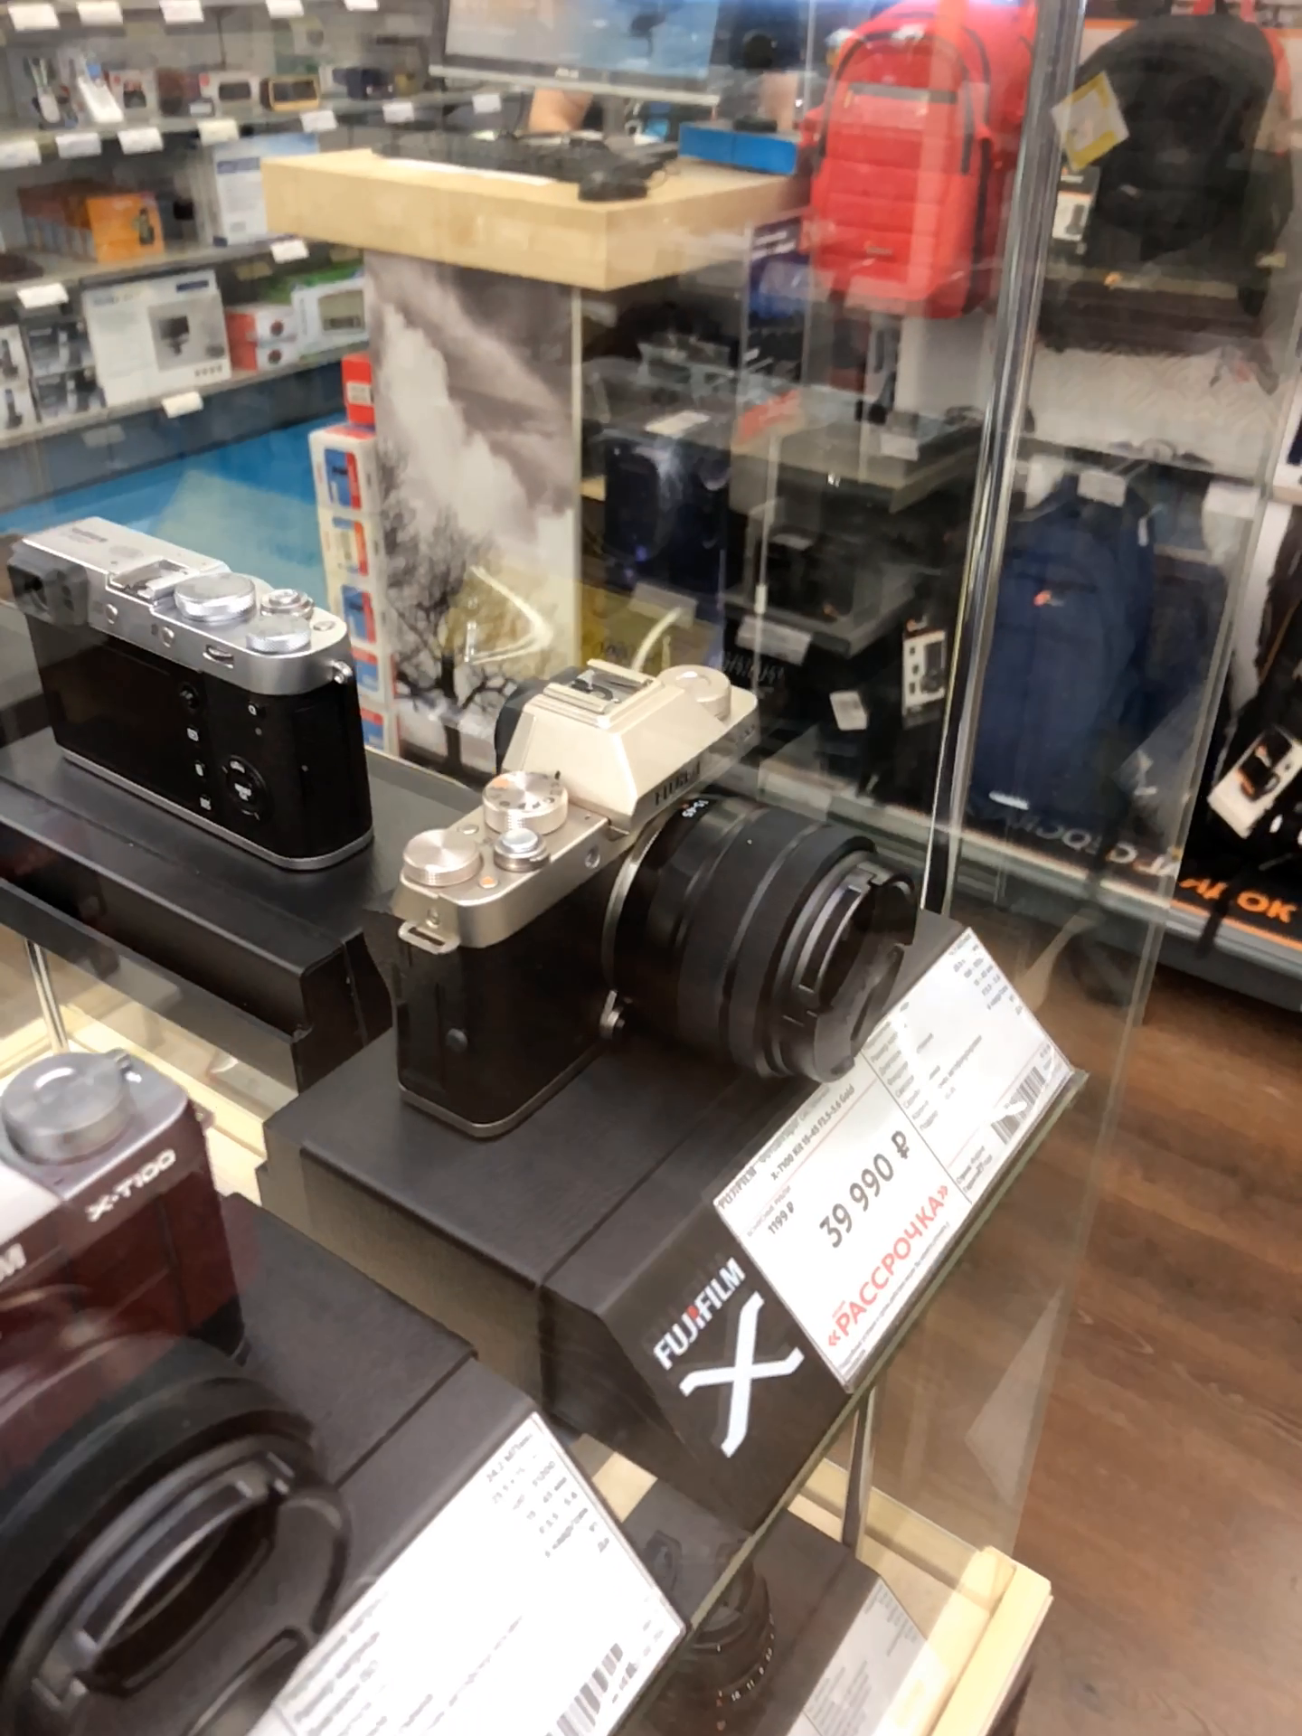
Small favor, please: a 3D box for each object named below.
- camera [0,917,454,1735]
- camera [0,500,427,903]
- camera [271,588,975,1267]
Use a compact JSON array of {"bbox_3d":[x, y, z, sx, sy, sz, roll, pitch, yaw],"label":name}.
[{"bbox_3d":[-0.116,0.092,0.209,0.102,0.086,0.141,21,38,28],"label":"camera"},{"bbox_3d":[-0.138,-0.056,0.445,0.132,0.076,0.055,23,39,30],"label":"camera"},{"bbox_3d":[-0.001,0.003,0.340,0.100,0.080,0.132,20,37,27],"label":"camera"}]
